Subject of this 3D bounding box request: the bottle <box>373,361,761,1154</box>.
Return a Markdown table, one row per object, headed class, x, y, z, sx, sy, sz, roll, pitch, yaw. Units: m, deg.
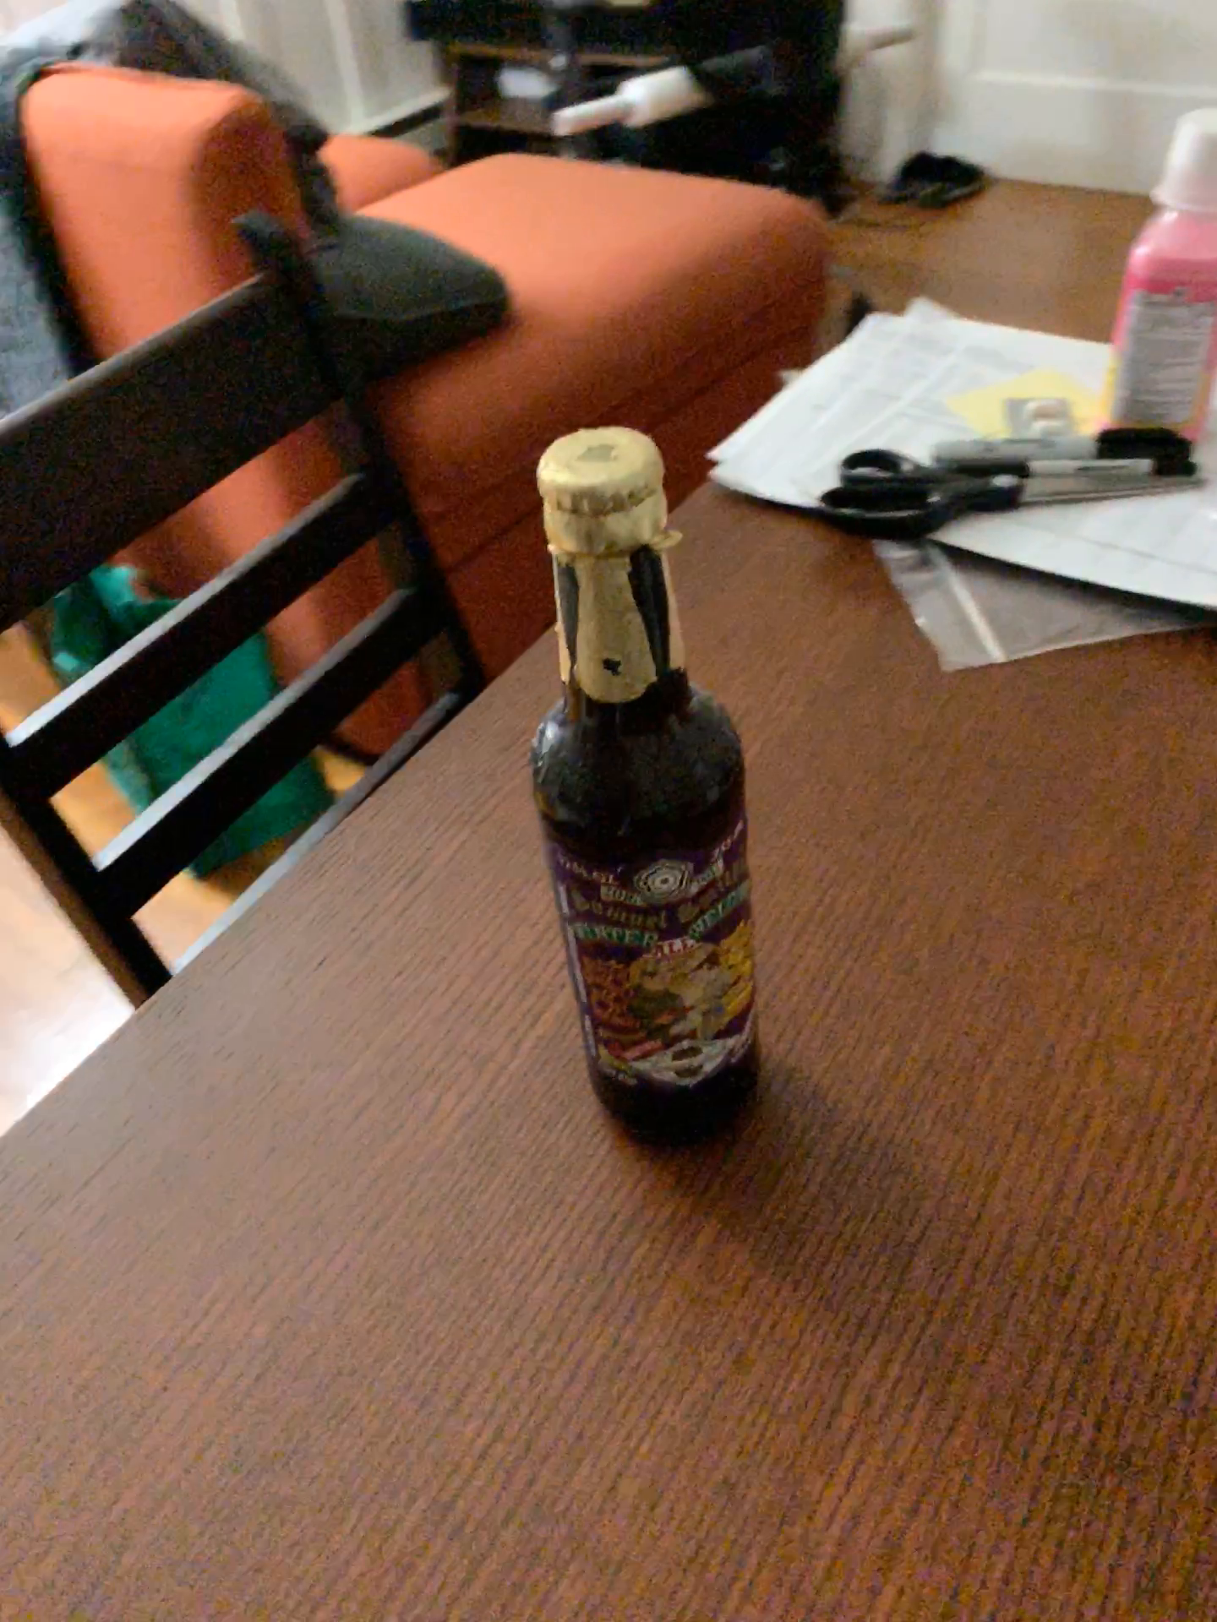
| class | x | y | z | sx | sy | sz | roll | pitch | yaw |
| --- | --- | --- | --- | --- | --- | --- | --- | --- | --- |
| bottle | 0.003 | 0.000 | 0.355 | 0.070 | 0.229 | 0.070 | -4 | 43 | 4 |
